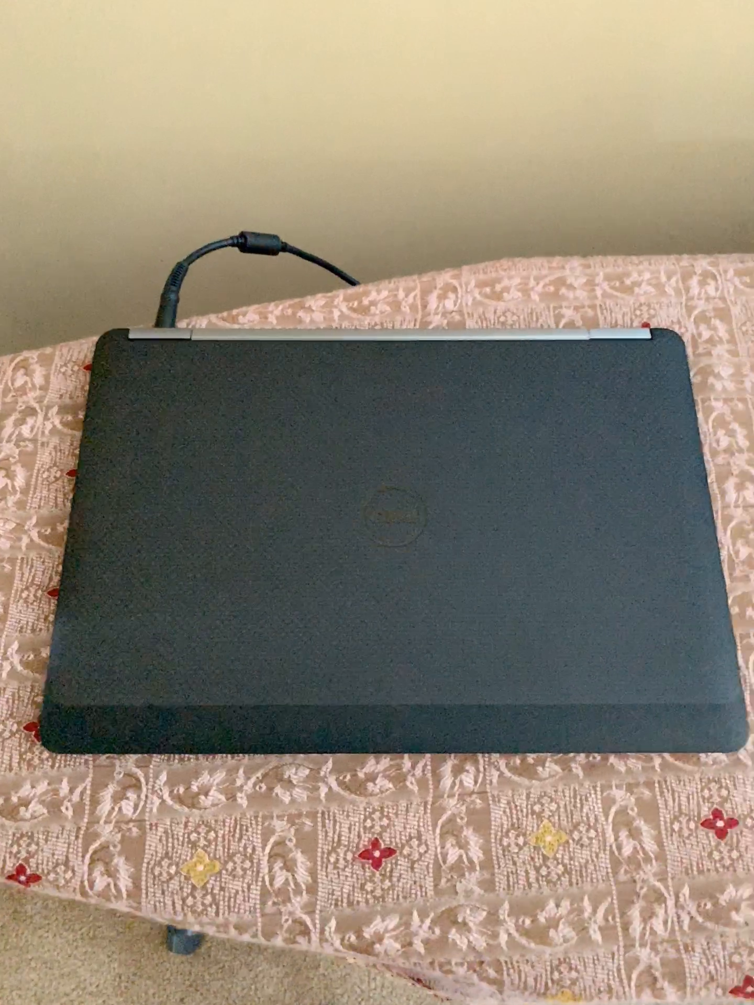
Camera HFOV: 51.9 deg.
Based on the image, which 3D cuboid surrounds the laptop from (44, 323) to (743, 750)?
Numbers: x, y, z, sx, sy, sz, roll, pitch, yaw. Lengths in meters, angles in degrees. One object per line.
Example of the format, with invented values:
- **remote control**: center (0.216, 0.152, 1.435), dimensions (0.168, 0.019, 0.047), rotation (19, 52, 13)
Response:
- **laptop**: center (0.004, 0.011, 0.365), dimensions (0.293, 0.017, 0.197), rotation (-1, 71, 4)
